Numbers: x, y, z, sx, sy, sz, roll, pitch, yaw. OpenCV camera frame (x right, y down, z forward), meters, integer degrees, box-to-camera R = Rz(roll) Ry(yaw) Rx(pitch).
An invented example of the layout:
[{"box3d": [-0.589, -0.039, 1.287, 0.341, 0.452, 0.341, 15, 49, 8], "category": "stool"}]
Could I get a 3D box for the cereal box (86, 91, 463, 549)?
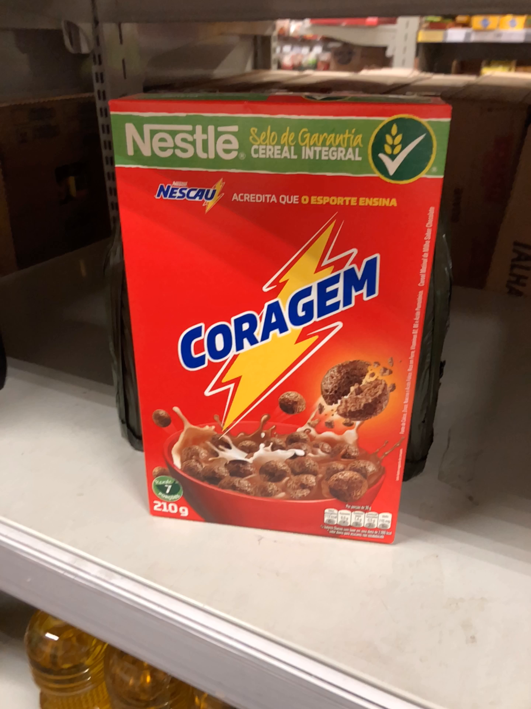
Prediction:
[{"box3d": [0.006, -0.015, 0.341, 0.170, 0.248, 0.060, 4, 26, 10], "category": "cereal box"}]
